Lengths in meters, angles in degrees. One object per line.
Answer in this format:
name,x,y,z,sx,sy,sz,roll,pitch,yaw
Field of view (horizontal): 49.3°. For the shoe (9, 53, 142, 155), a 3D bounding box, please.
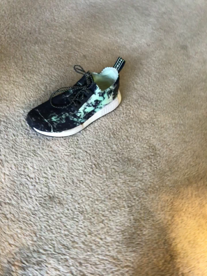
shoe,-0.064,-0.095,0.577,0.288,0.100,0.131,-28,71,-25
